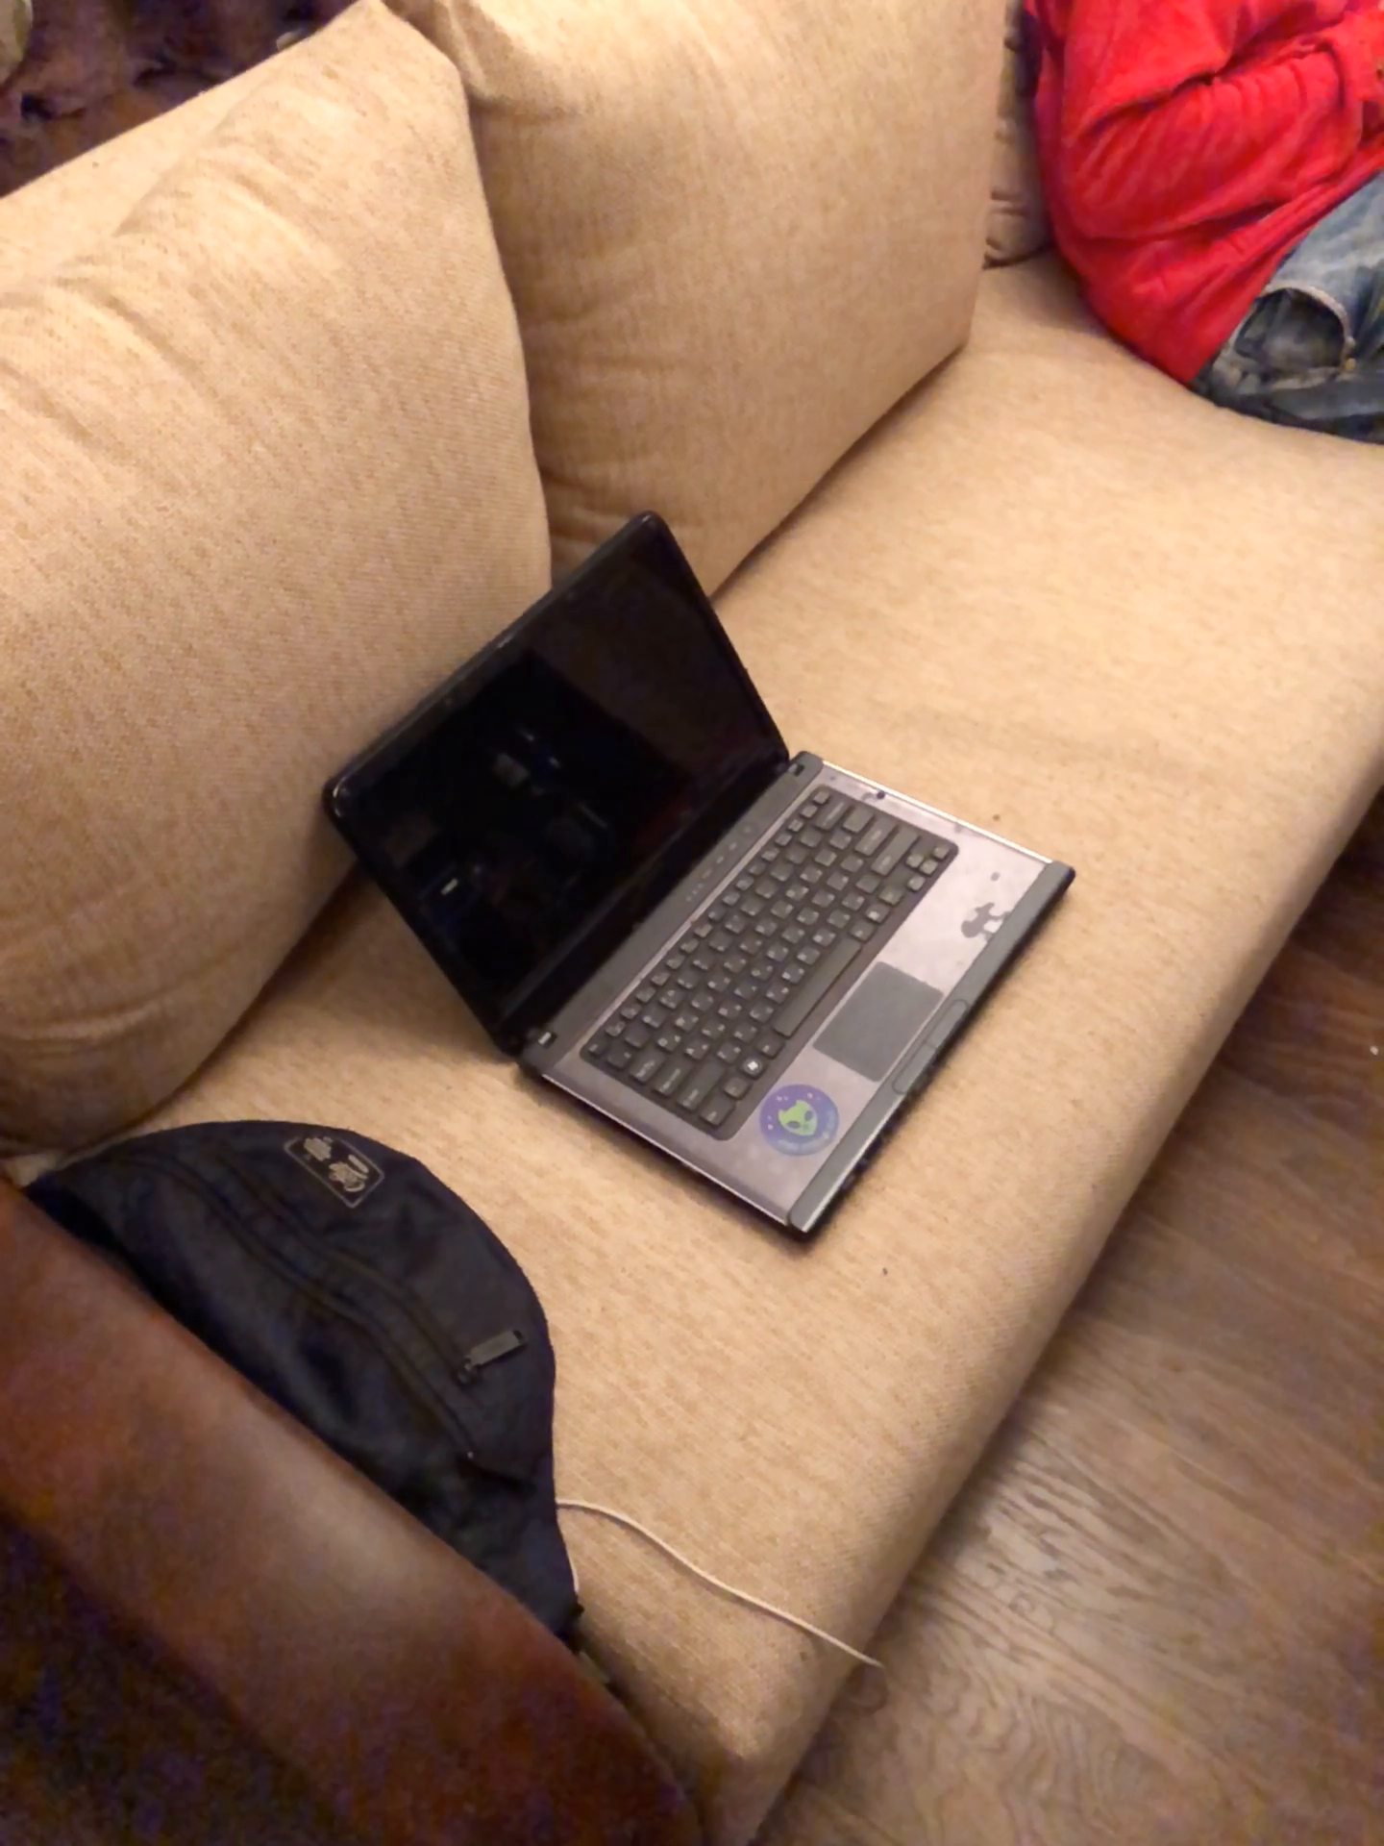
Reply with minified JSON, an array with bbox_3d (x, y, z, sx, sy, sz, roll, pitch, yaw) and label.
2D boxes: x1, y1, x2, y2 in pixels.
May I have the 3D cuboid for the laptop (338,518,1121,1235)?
[{"bbox_3d":[0.027,-0.051,1.000,0.350,0.174,0.339,27,58,23],"label":"laptop"}]
